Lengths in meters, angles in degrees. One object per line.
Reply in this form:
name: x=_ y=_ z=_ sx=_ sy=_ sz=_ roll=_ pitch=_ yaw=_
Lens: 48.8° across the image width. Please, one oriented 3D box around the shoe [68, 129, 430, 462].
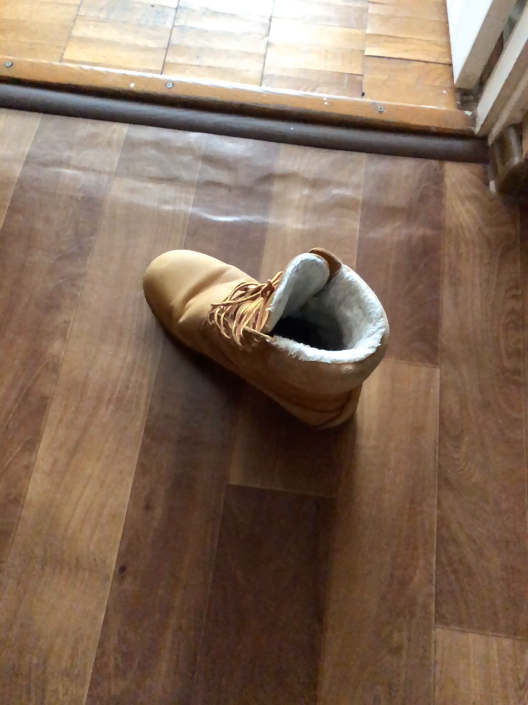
shoe: x=-0.018 y=-0.045 z=0.571 sx=0.290 sy=0.179 sz=0.120 roll=36 pitch=72 yaw=11
